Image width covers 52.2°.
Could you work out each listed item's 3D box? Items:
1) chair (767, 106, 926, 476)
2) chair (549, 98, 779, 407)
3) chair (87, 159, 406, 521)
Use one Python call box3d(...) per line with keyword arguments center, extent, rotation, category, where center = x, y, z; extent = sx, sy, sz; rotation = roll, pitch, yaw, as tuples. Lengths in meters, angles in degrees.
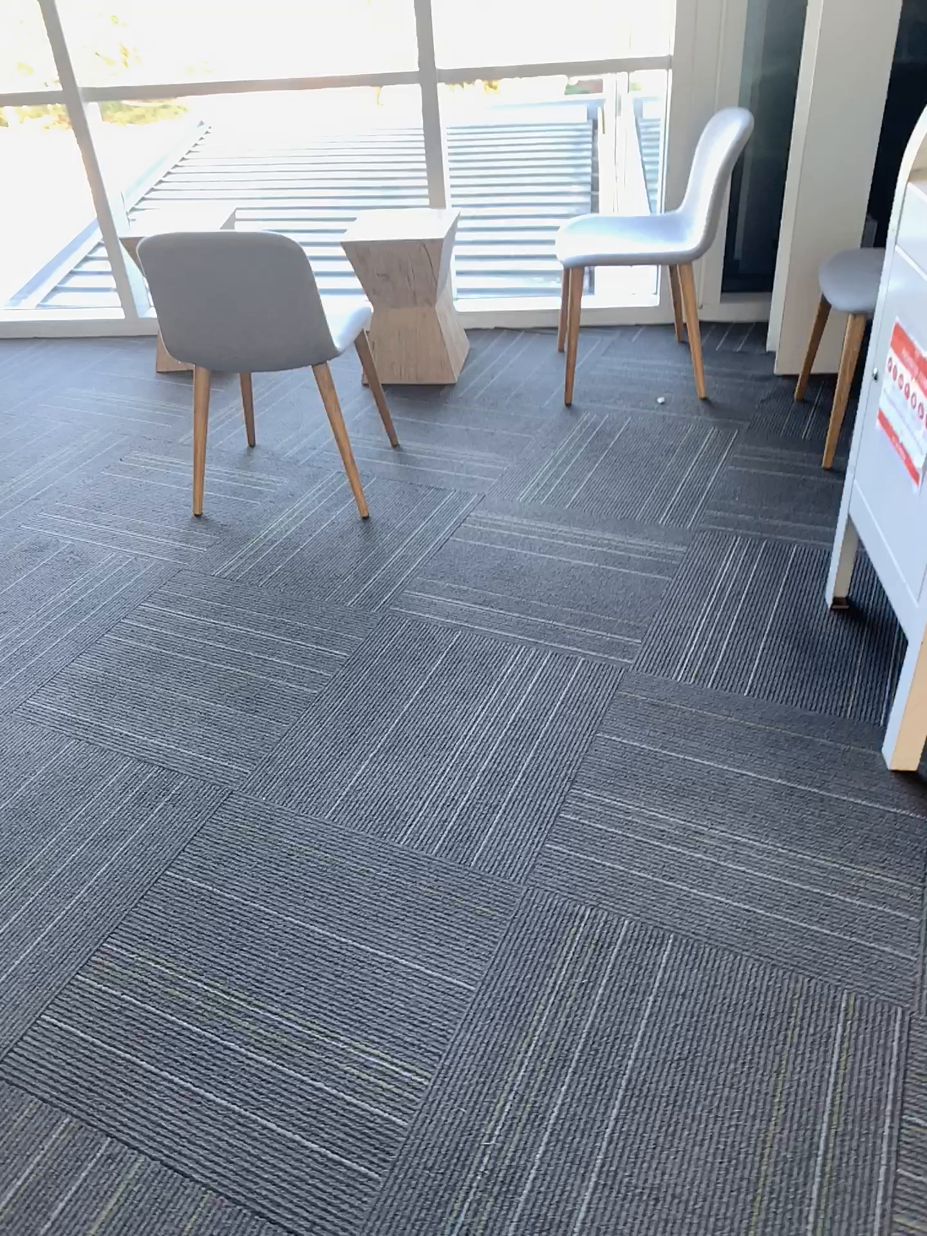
box3d(center=(1.239, -0.885, 2.559), extent=(0.600, 0.765, 0.644), rotation=(-1, 36, 5), category="chair")
box3d(center=(0.578, -1.163, 3.005), extent=(0.600, 0.745, 0.644), rotation=(-1, 36, 5), category="chair")
box3d(center=(-0.516, -0.749, 2.560), extent=(0.560, 0.765, 0.603), rotation=(1, 36, 7), category="chair")
